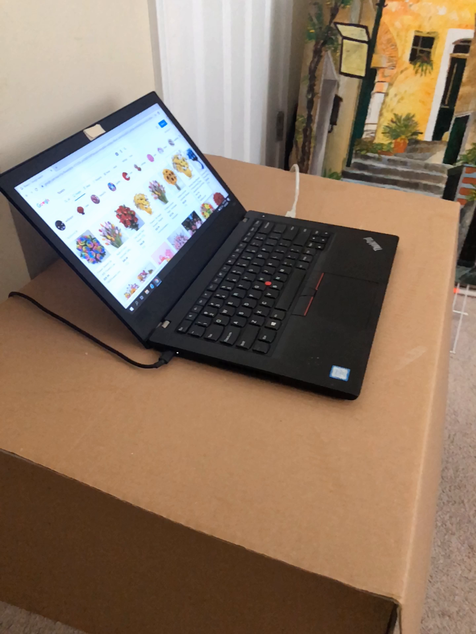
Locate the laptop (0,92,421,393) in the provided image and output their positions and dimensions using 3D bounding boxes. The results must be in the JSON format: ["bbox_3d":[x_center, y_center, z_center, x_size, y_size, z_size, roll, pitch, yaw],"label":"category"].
[{"bbox_3d":[-0.004,-0.121,0.611,0.364,0.158,0.324,13,39,16],"label":"laptop"}]
